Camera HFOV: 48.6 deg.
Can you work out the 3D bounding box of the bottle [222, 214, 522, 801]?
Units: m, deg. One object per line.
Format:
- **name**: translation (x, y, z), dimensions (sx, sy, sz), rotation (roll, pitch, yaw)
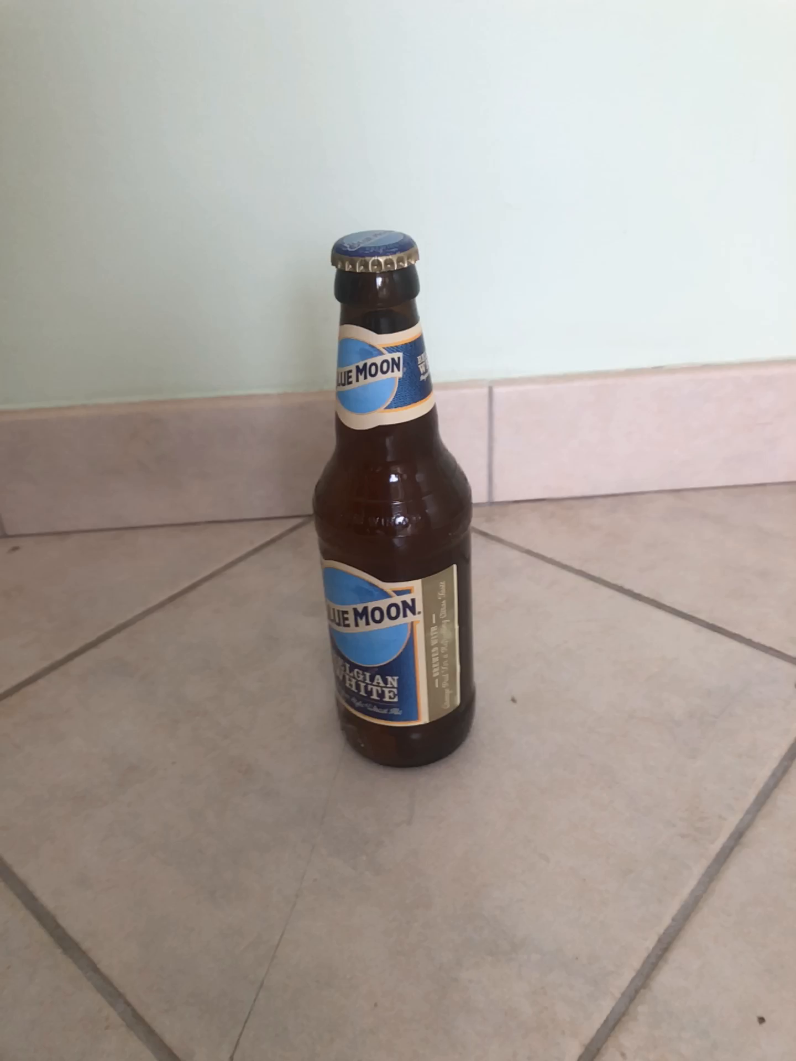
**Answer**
- **bottle**: translation (-0.002, -0.004, 0.344), dimensions (0.070, 0.209, 0.070), rotation (-2, 33, 2)
